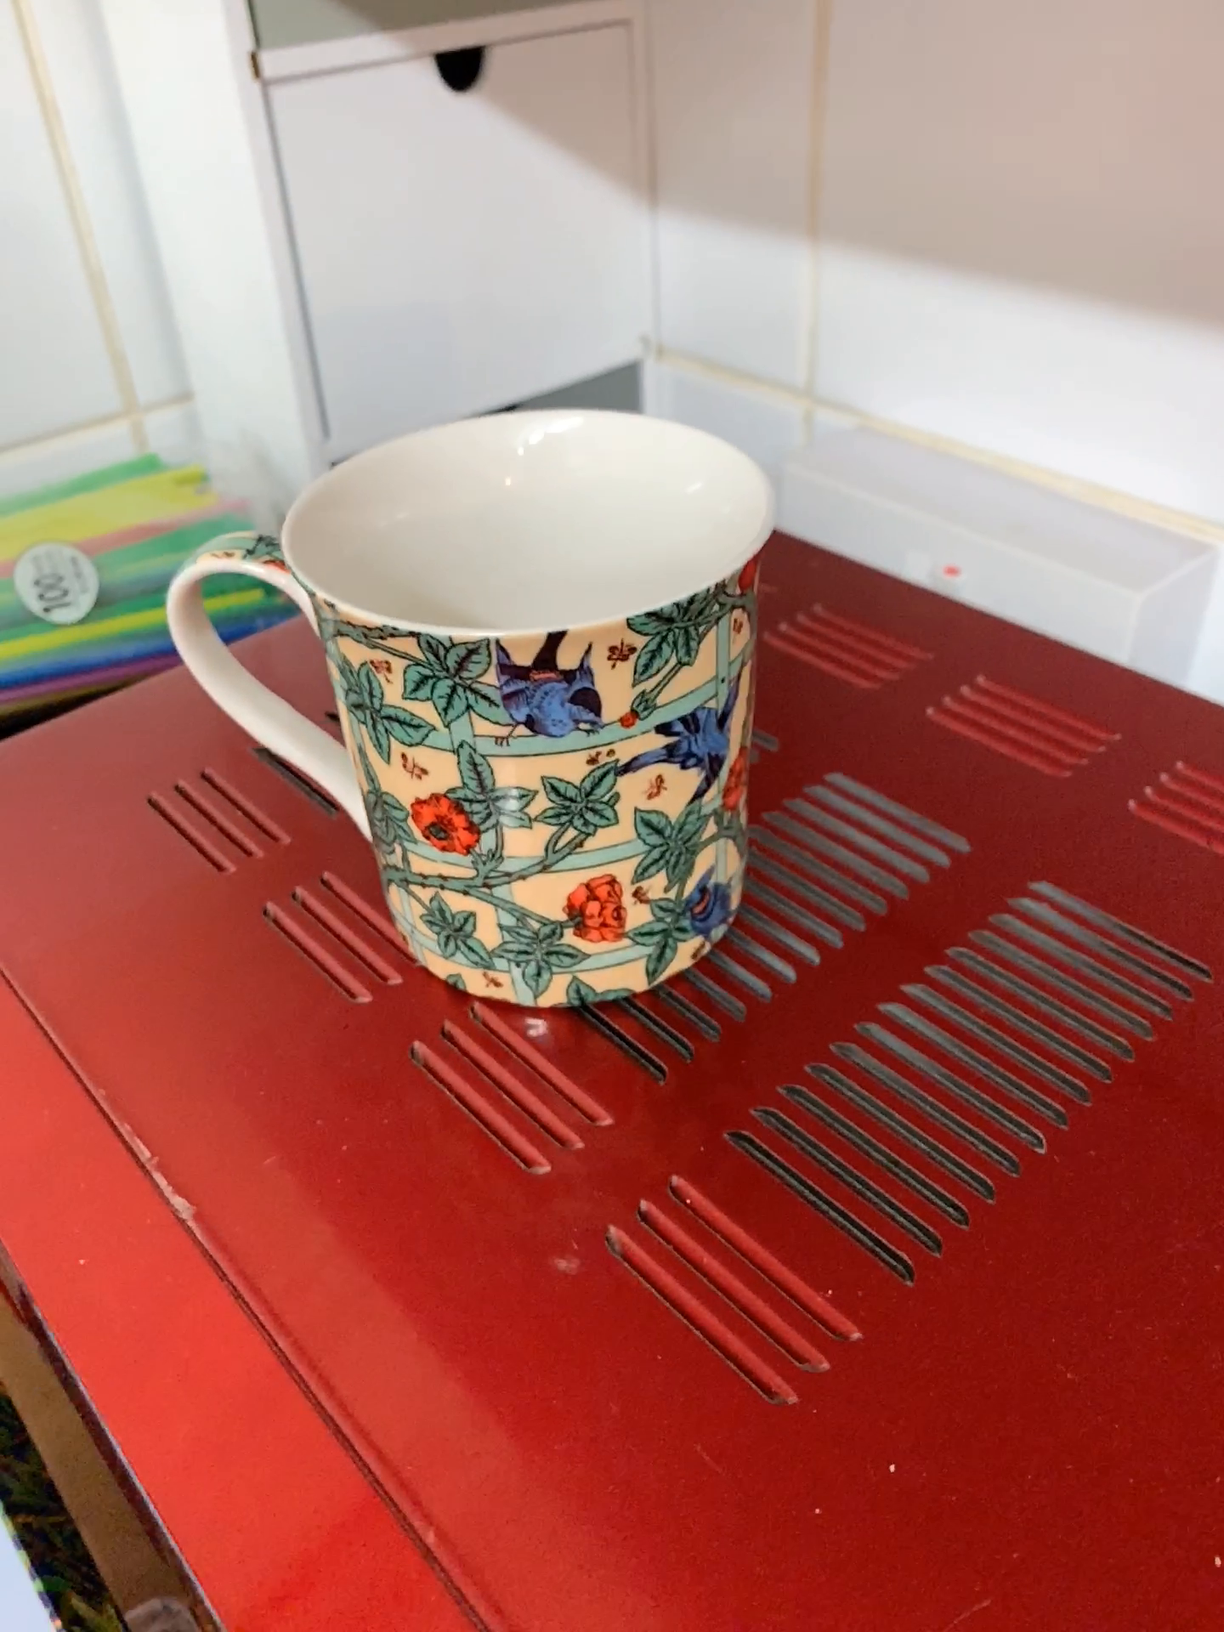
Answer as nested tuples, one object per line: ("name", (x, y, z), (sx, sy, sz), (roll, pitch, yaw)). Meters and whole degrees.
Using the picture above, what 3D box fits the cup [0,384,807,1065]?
("cup", (-0.028, -0.022, 0.233), (0.110, 0.079, 0.081), (9, 39, 15))
